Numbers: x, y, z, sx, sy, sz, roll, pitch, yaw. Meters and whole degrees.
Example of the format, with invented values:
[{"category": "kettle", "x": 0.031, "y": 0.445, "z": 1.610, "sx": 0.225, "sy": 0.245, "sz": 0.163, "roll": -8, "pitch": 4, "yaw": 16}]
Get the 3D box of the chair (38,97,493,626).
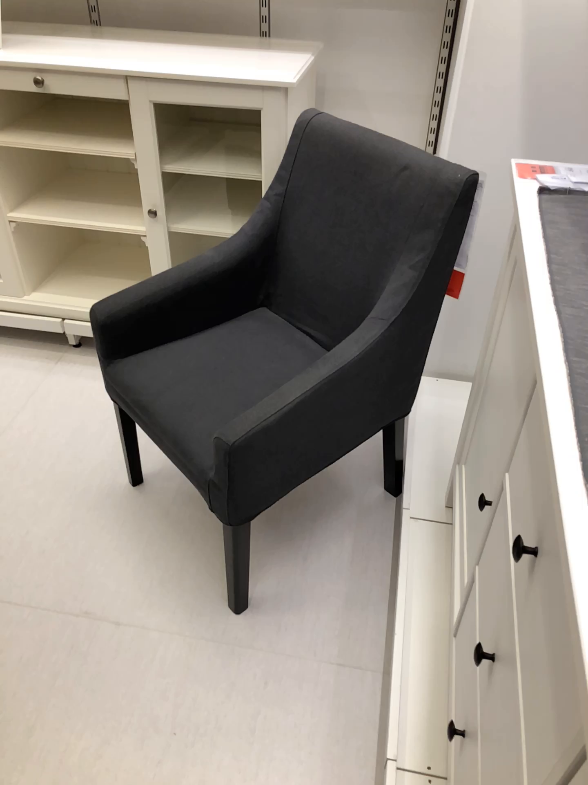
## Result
[{"category": "chair", "x": -0.079, "y": -0.098, "z": 1.494, "sx": 0.621, "sy": 0.884, "sz": 0.613, "roll": -24, "pitch": 46, "yaw": -29}]
